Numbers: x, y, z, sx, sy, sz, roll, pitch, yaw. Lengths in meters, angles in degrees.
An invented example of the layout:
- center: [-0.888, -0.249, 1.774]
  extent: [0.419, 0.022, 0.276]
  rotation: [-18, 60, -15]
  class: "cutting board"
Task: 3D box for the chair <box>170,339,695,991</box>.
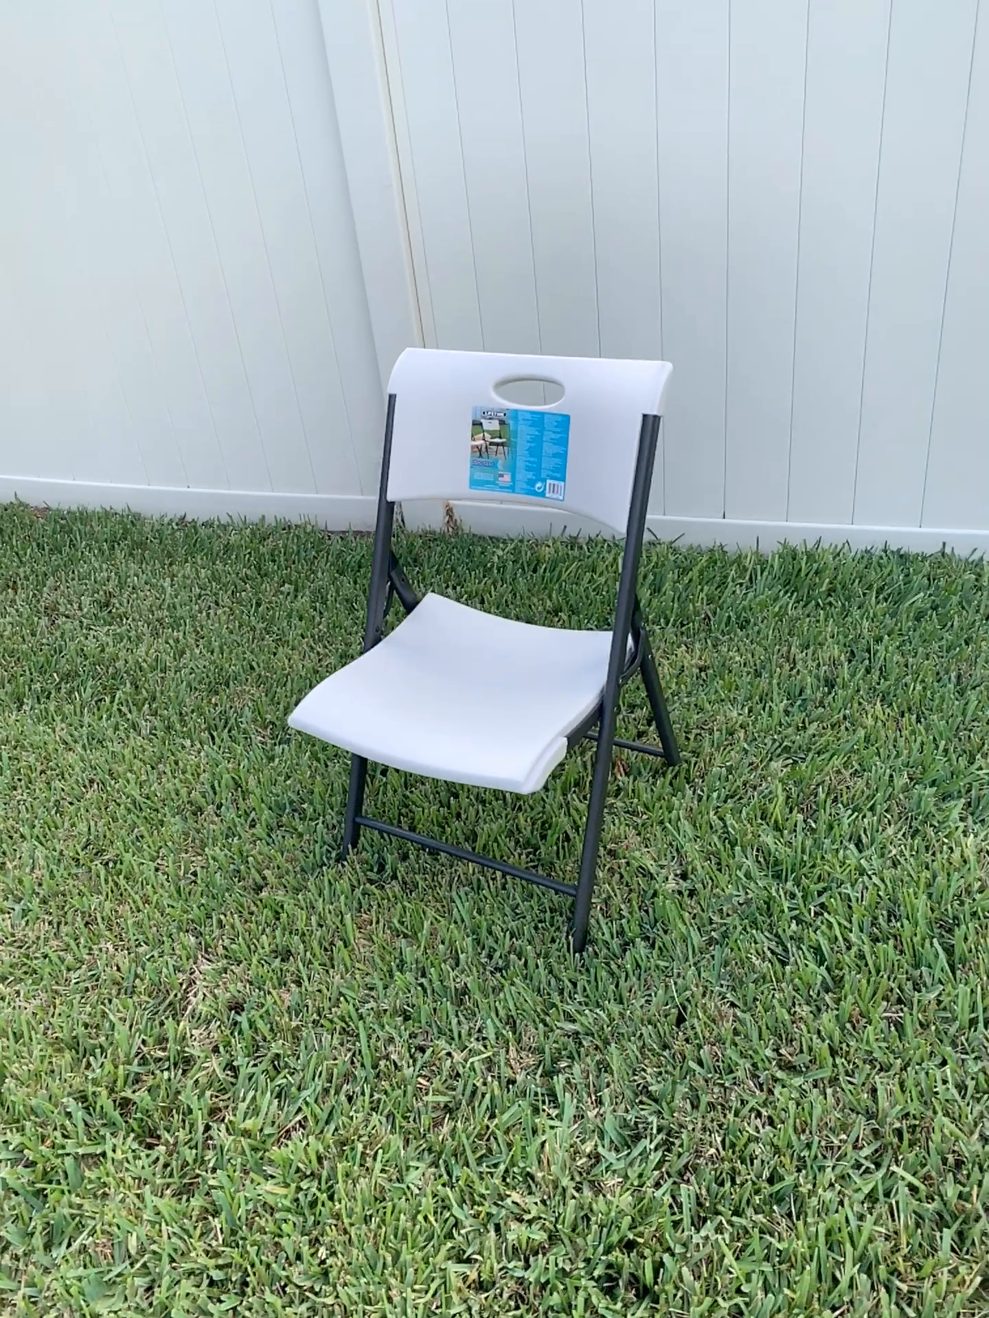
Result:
- center: [-0.032, -0.032, 1.559]
  extent: [0.519, 0.766, 0.518]
  rotation: [12, 34, 29]
  class: "chair"
